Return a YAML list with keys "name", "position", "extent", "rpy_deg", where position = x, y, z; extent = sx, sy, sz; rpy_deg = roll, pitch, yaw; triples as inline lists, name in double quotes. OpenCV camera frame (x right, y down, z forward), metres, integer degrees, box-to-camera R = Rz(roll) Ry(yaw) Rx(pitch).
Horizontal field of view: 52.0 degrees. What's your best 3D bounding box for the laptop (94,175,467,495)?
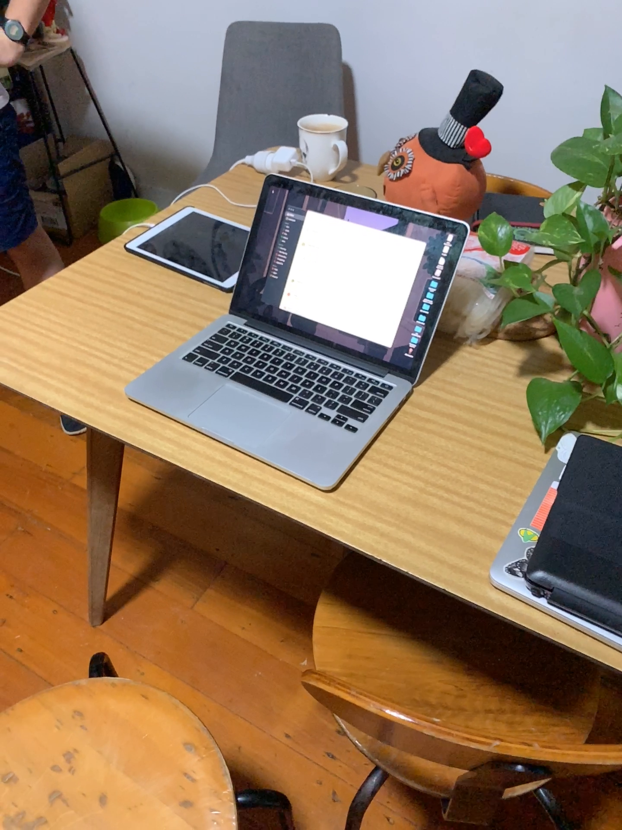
- name: "laptop"
  position: [-0.020, -0.111, 0.681]
  extent: [0.264, 0.144, 0.288]
  rpy_deg: [23, 46, 25]
